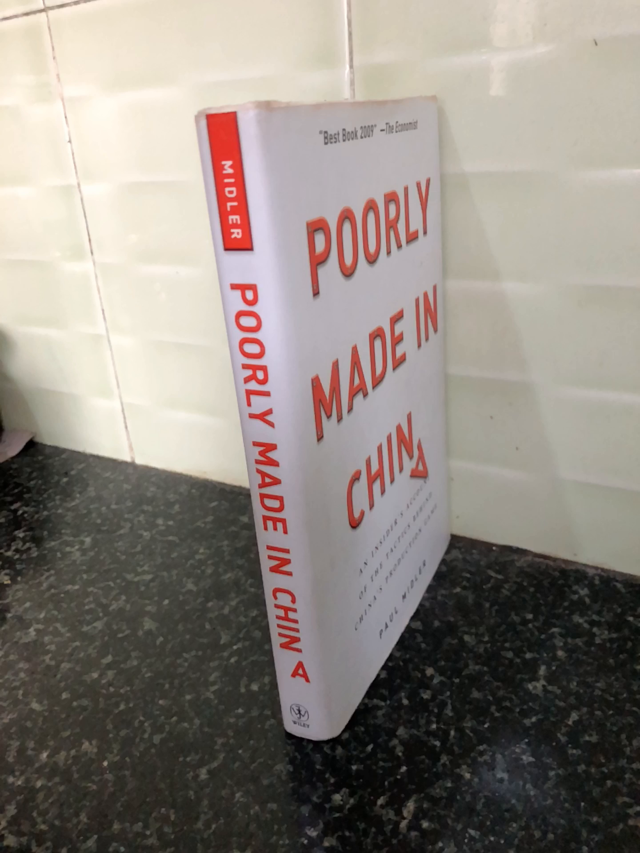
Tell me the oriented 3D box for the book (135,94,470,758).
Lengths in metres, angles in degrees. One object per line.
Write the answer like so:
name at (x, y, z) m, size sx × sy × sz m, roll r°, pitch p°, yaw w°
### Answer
book at (0.018, -0.019, 0.304) m, size 0.040 × 0.219 × 0.191 m, roll 7°, pitch 26°, yaw 25°
